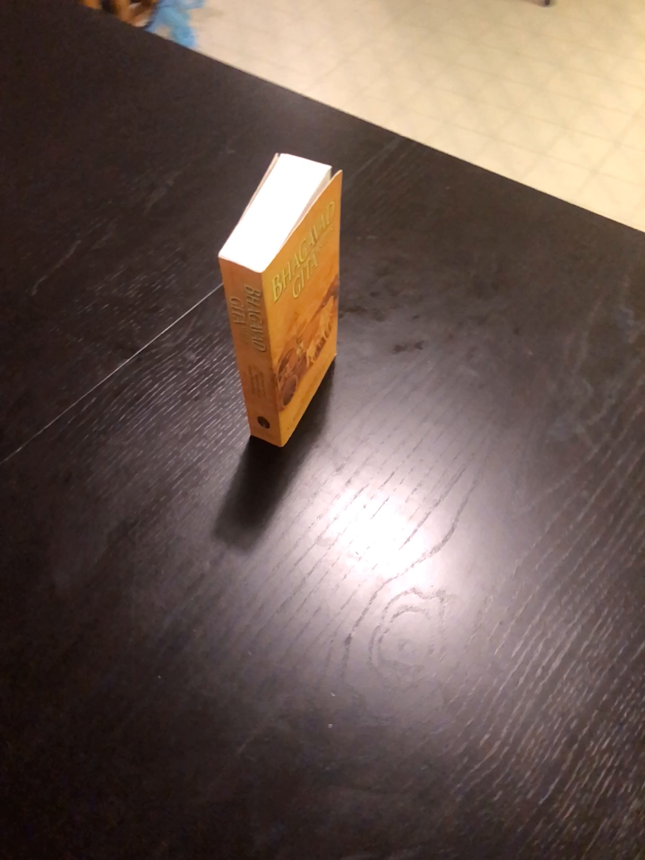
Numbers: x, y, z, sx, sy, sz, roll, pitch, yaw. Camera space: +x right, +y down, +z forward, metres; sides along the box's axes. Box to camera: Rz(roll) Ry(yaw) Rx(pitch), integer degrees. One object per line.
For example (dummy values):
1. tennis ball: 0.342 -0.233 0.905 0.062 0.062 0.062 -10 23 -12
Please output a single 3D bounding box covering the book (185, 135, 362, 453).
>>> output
1. book: -0.025 -0.090 0.505 0.059 0.174 0.126 19 57 15
